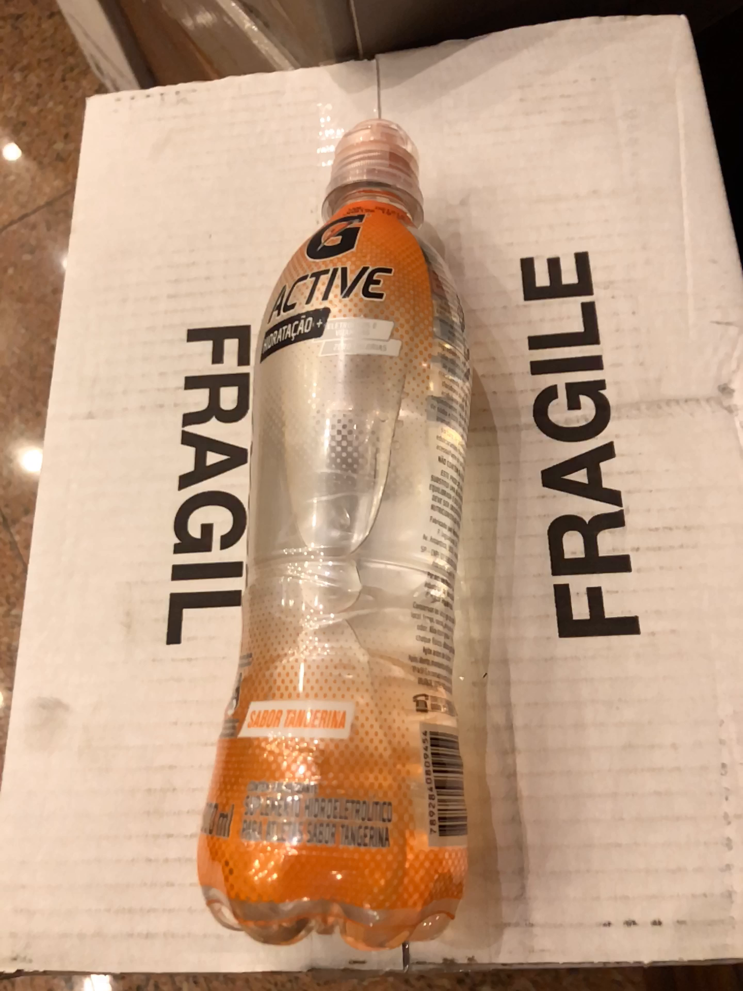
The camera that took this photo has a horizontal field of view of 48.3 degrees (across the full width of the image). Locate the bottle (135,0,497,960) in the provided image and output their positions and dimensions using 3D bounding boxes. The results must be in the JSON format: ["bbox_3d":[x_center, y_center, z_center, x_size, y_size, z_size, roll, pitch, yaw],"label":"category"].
[{"bbox_3d":[-0.001,-0.021,0.229,0.070,0.060,0.251,0,70,8],"label":"bottle"}]
